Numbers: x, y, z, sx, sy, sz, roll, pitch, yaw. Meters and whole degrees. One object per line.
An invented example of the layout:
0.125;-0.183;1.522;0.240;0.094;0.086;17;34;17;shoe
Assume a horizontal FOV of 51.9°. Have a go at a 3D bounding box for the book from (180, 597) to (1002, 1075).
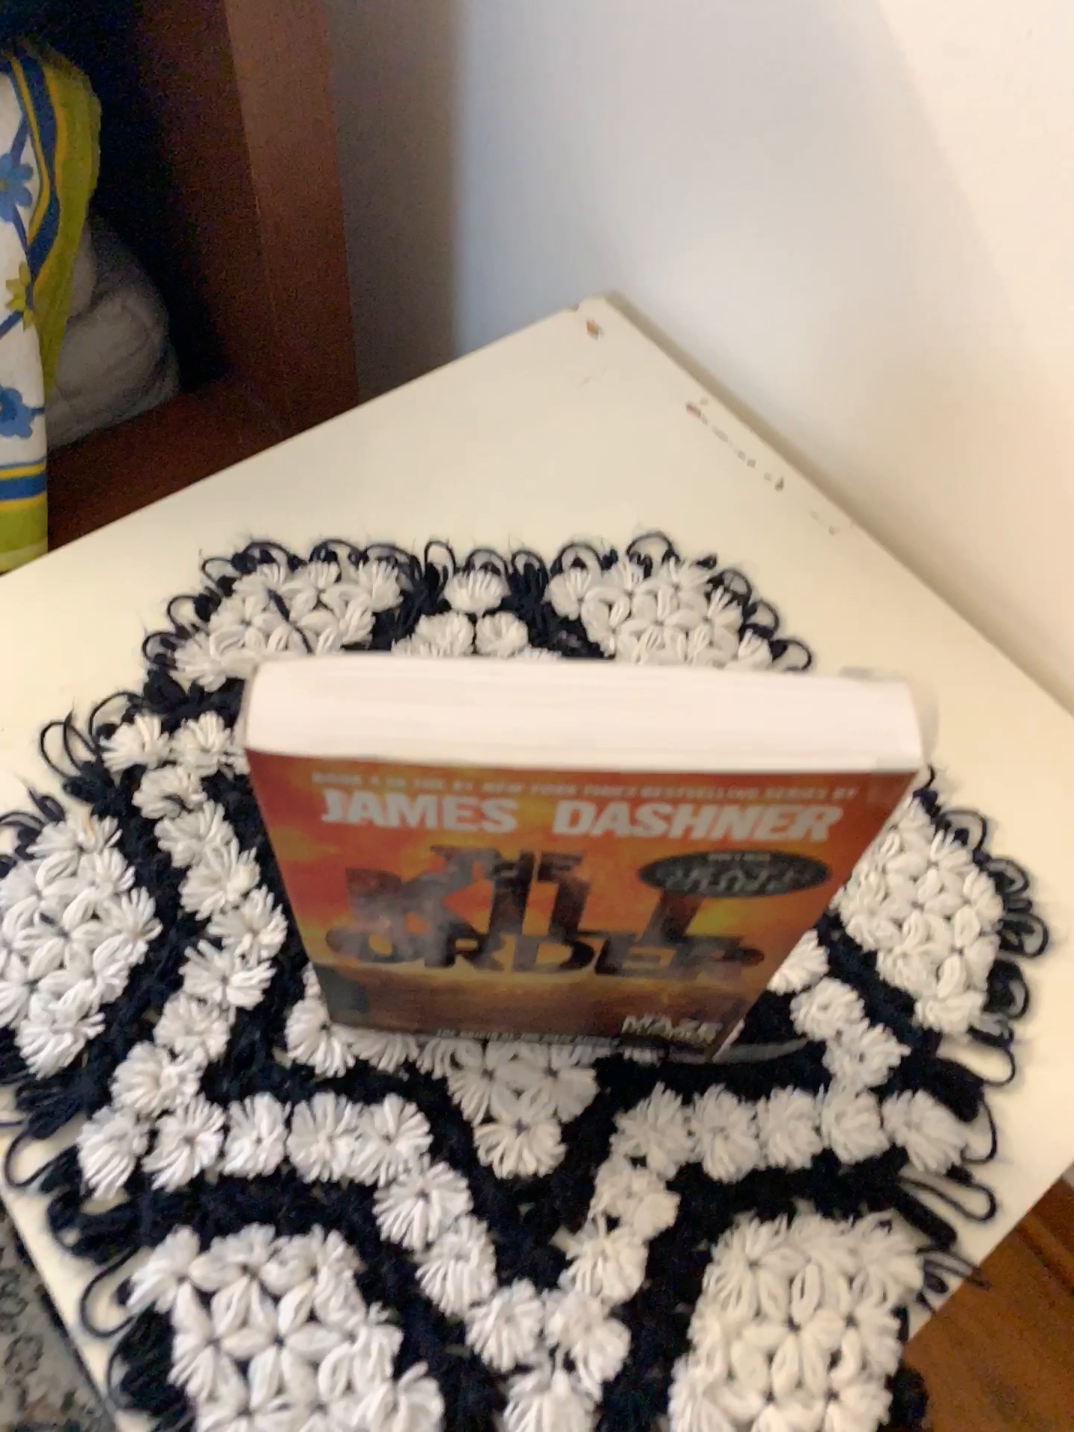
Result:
0.004;0.053;0.313;0.160;0.218;0.030;4;57;-3;book
